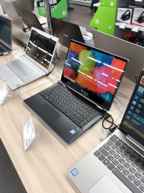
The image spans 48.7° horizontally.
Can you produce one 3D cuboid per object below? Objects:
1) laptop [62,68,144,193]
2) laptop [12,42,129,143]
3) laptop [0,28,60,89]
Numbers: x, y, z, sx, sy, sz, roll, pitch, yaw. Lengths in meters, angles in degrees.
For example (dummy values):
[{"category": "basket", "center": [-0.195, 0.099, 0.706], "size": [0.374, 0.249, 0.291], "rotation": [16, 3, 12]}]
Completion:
[{"category": "laptop", "center": [0.215, 0.148, 0.360], "size": [0.330, 0.218, 0.352], "rotation": [-28, 44, -28]}, {"category": "laptop", "center": [-0.011, -0.056, 0.677], "size": [0.327, 0.194, 0.327], "rotation": [-30, 45, -30]}, {"category": "laptop", "center": [-0.292, -0.249, 0.959], "size": [0.323, 0.171, 0.293], "rotation": [-30, 47, -29]}]
